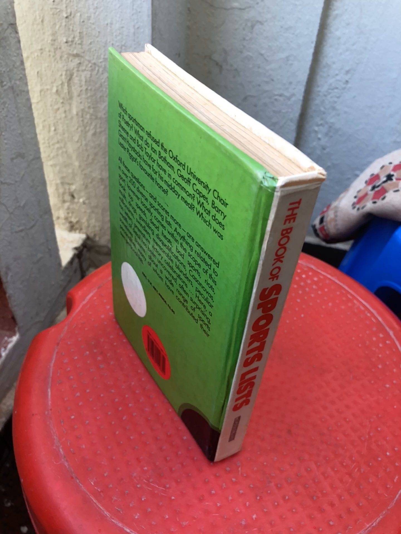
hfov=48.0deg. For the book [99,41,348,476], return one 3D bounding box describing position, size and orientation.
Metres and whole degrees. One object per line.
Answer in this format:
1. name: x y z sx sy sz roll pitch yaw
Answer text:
1. book: -0.009 0.004 0.272 0.030 0.219 0.150 -20 47 -27
